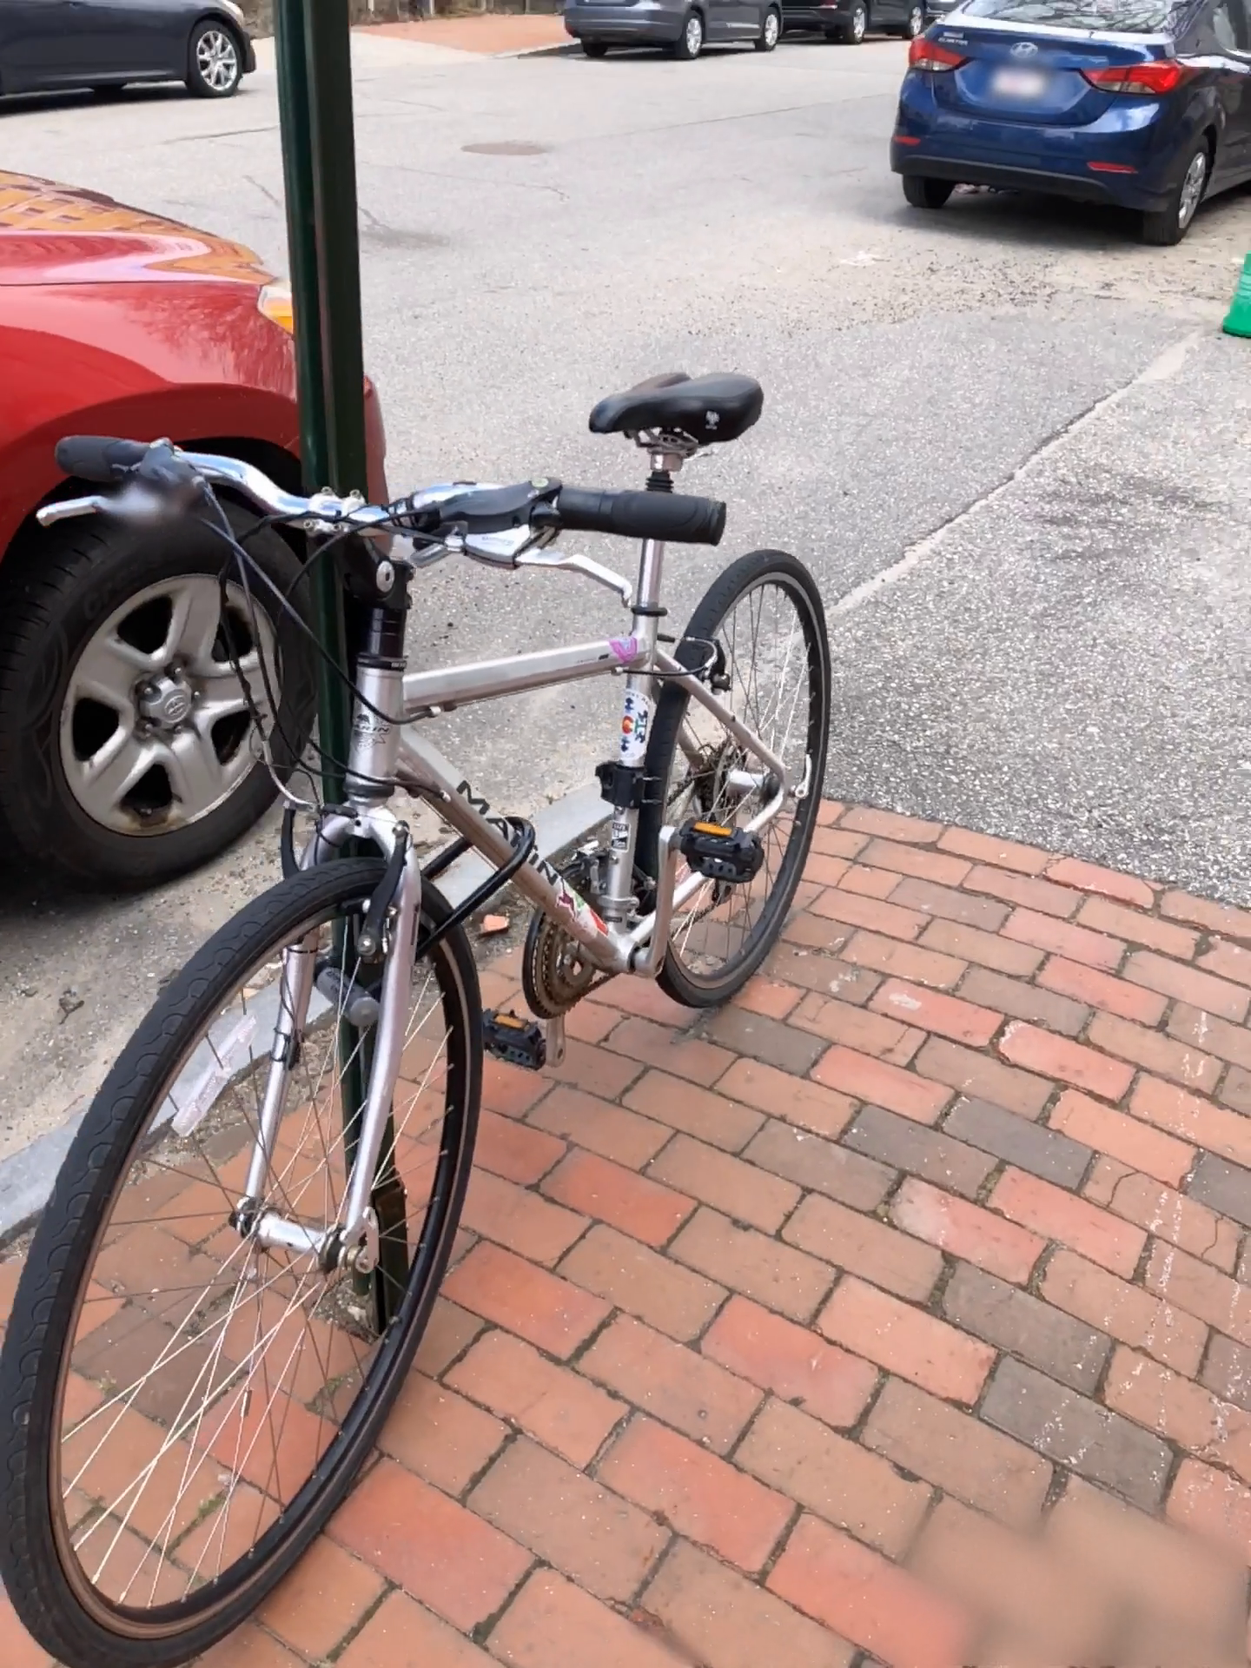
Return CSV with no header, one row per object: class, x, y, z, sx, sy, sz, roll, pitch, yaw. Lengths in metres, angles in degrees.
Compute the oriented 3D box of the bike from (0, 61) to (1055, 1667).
bike,-0.094,-0.079,1.415,0.608,1.011,1.569,18,30,20
